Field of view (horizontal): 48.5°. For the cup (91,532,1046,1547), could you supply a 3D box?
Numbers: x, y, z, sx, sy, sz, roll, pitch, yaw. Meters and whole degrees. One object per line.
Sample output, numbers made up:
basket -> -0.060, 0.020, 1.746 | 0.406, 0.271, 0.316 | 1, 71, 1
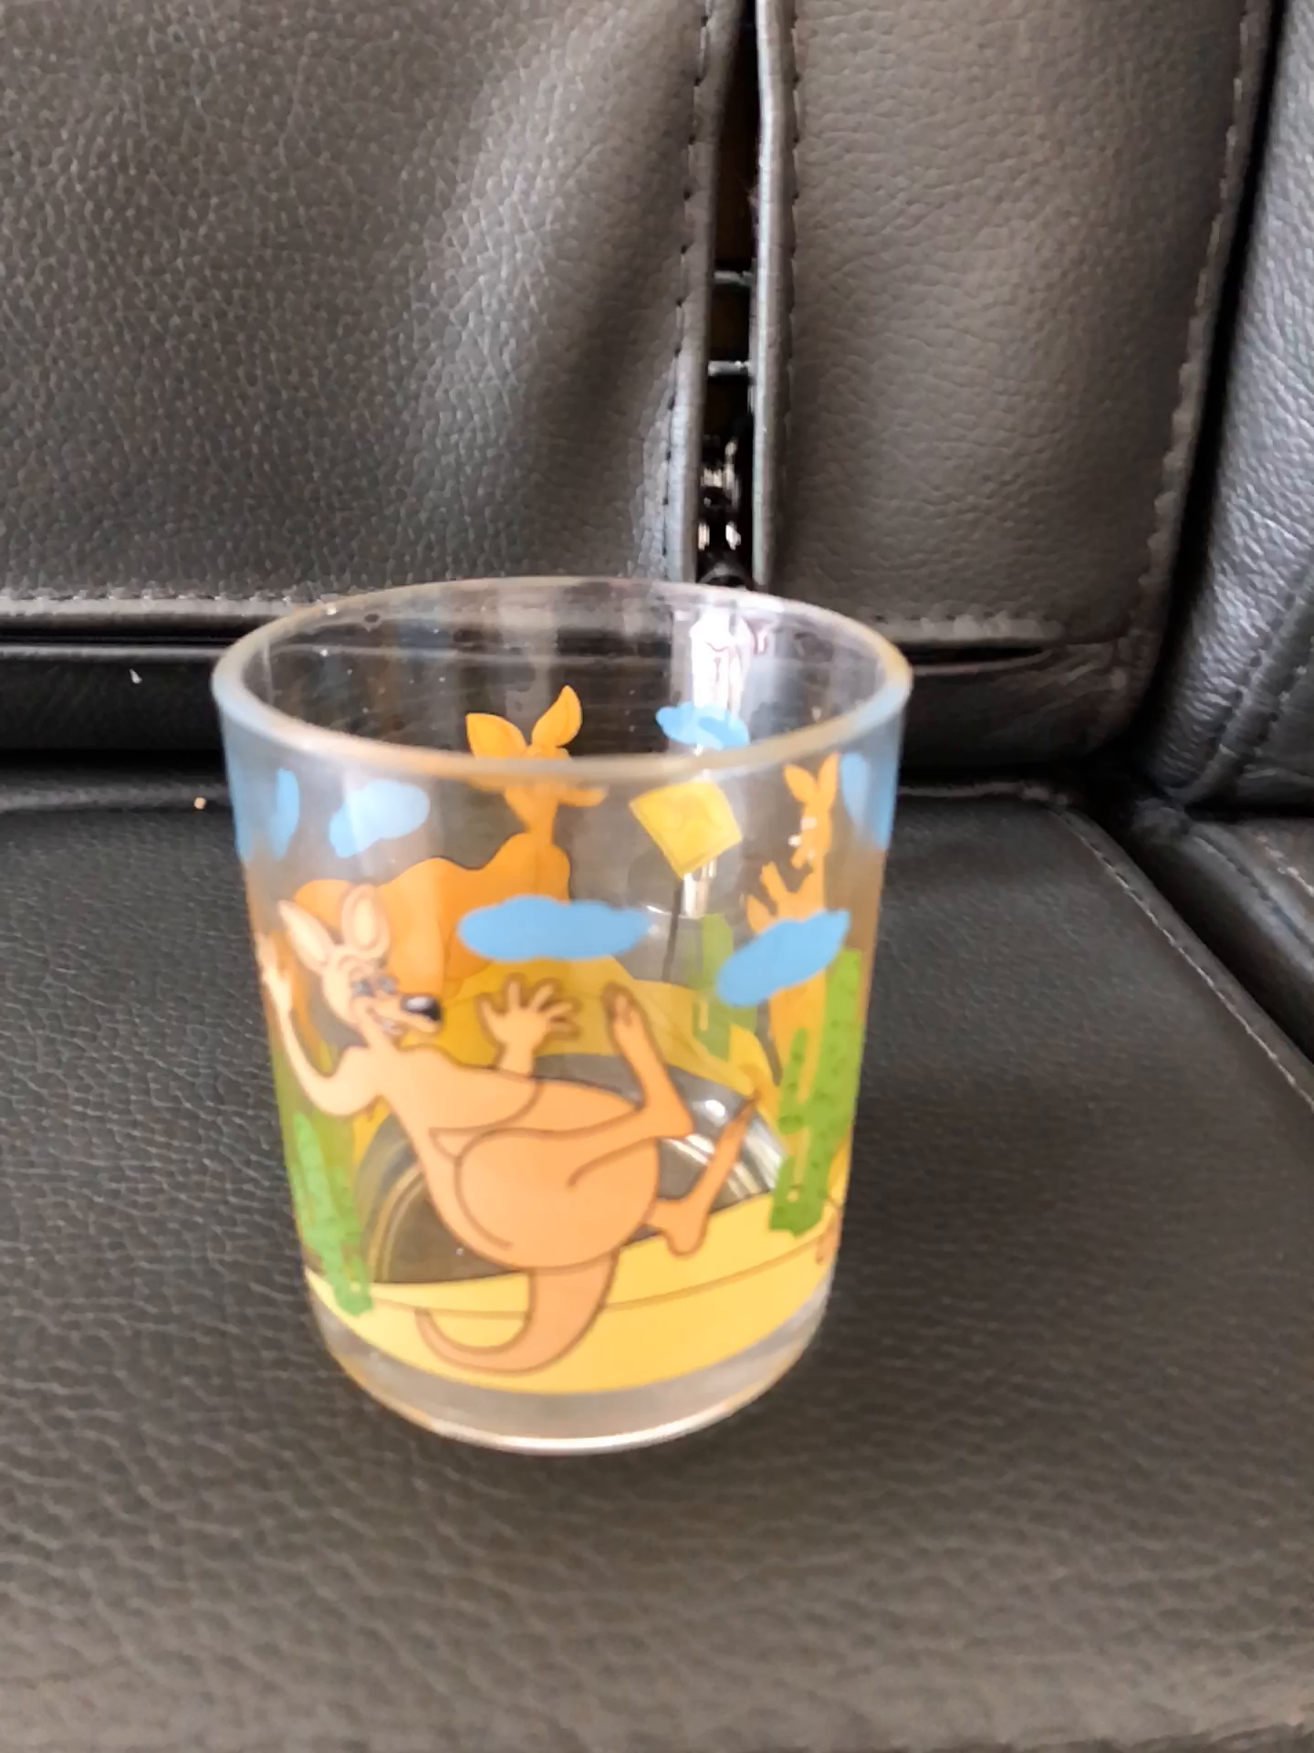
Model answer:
cup -> -0.004, 0.010, 0.169 | 0.080, 0.080, 0.070 | 9, 25, 16
